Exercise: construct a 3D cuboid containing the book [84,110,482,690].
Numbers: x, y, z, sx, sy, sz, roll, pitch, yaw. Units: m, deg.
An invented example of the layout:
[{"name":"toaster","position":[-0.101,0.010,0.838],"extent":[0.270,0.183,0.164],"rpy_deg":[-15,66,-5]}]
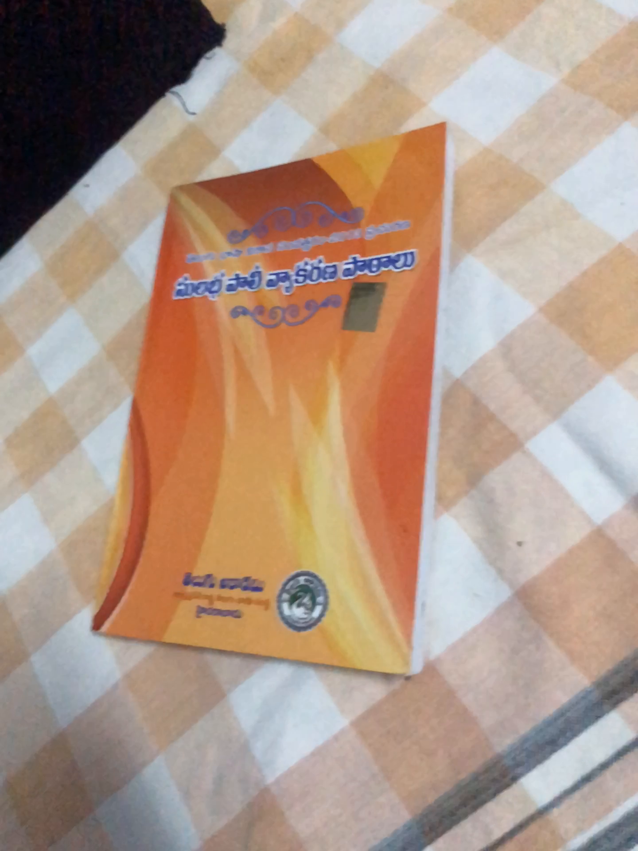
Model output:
[{"name":"book","position":[-0.012,-0.016,0.282],"extent":[0.140,0.020,0.210],"rpy_deg":[-1,73,25]}]
